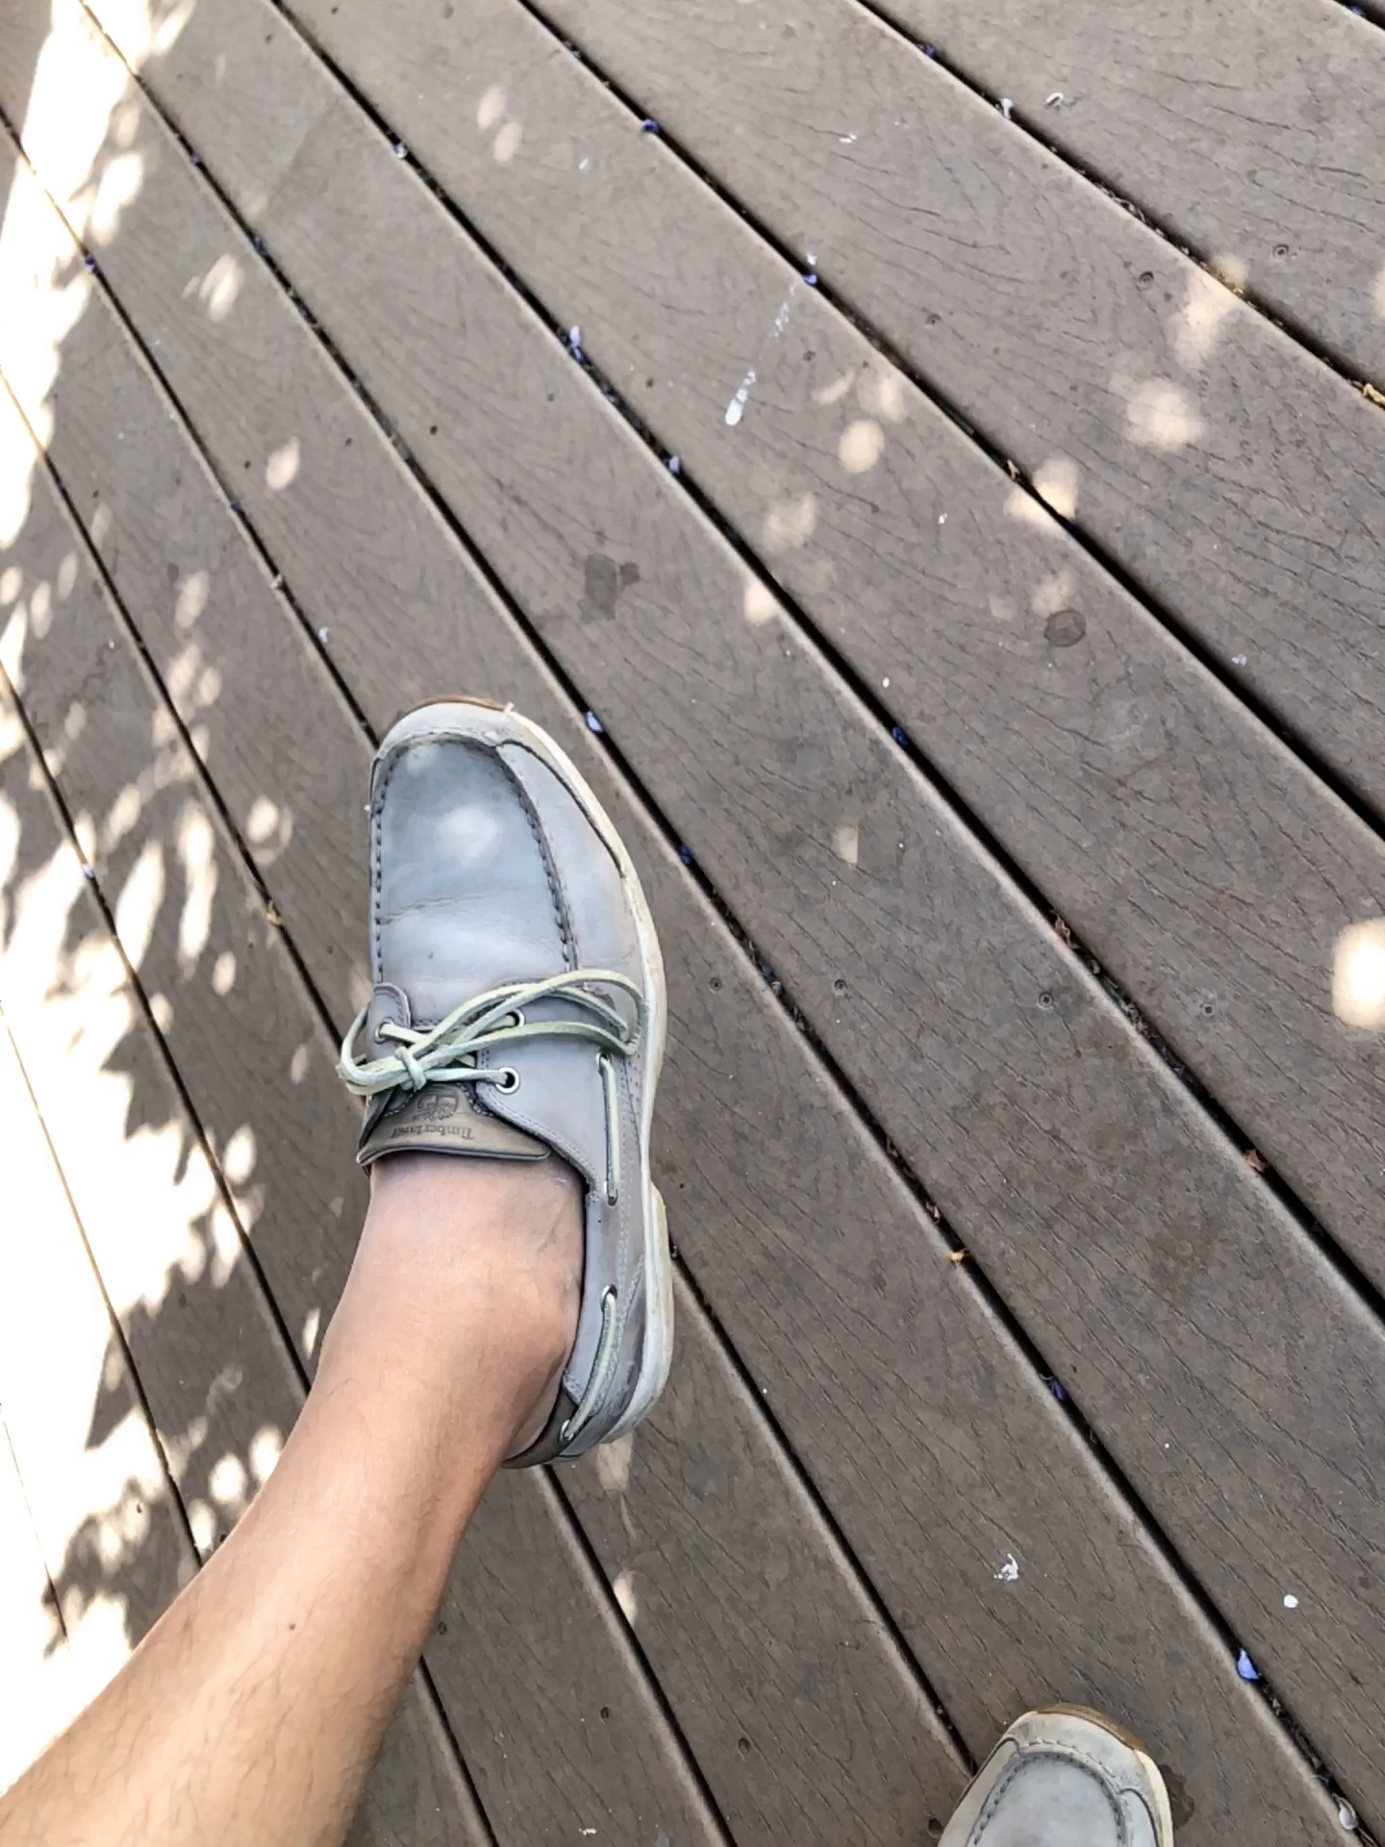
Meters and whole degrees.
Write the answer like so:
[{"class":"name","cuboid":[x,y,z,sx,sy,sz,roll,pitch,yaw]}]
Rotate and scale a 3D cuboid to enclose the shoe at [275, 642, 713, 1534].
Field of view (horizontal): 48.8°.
[{"class":"shoe","cuboid":[-0.078,0.060,0.591,0.115,0.085,0.306,-8,86,33]}]
